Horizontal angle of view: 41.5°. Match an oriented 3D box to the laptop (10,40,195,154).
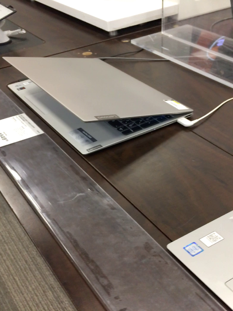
[{"bbox_3d":[-0.047,-0.153,0.695,0.251,0.073,0.326,-25,45,-20],"label":"laptop"}]
